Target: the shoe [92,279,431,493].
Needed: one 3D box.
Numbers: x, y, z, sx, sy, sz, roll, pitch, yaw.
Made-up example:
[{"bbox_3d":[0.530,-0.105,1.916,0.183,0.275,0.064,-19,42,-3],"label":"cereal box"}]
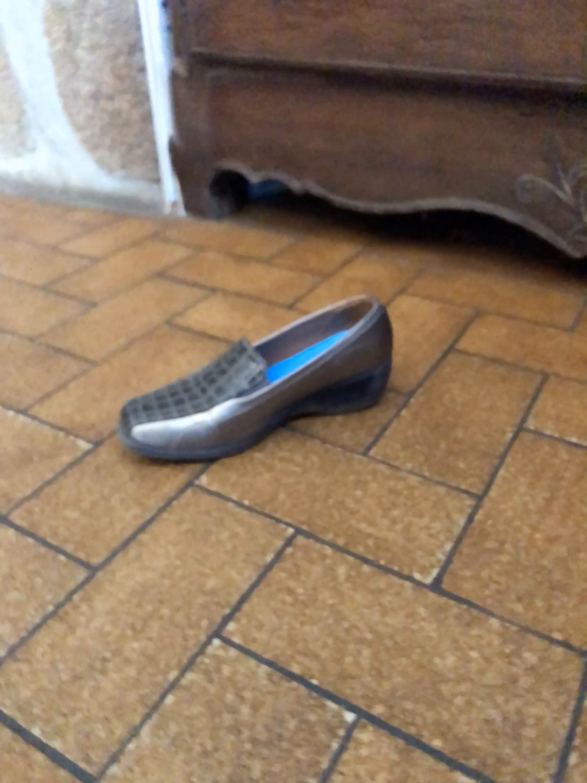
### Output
[{"bbox_3d":[-0.023,-0.013,0.559,0.261,0.089,0.090,-15,36,-20],"label":"shoe"}]
